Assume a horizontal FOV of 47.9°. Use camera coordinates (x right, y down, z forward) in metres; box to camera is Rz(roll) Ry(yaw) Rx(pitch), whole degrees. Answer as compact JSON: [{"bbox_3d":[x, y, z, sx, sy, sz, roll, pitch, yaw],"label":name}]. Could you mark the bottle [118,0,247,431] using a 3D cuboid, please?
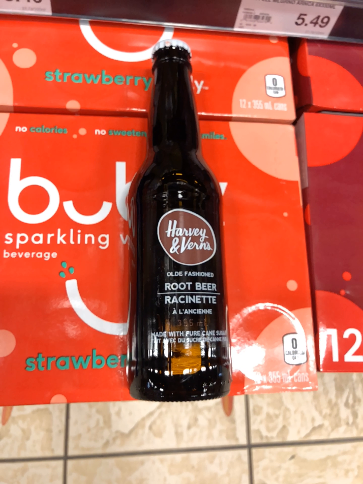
[{"bbox_3d":[-0.008,-0.020,0.246,0.060,0.070,0.230,0,78,-9],"label":"bottle"}]
